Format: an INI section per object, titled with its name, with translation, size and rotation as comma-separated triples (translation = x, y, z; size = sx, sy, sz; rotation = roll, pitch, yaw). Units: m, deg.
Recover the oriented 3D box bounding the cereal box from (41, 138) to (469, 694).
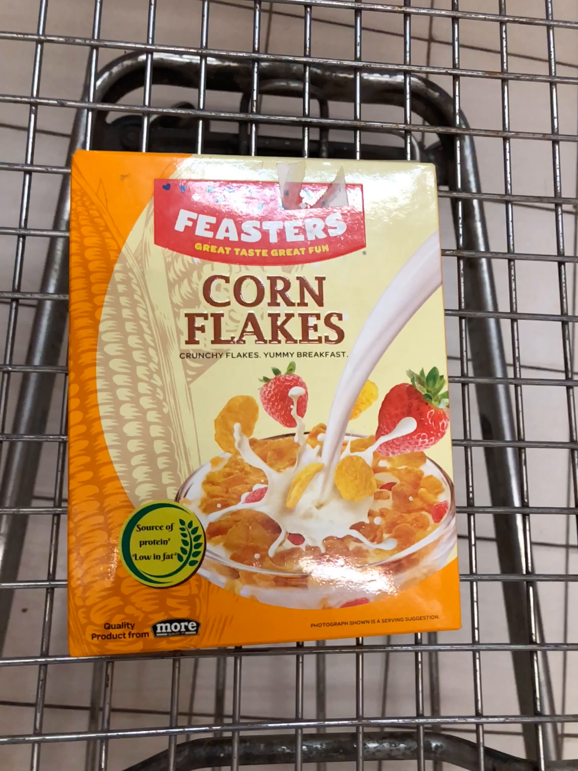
[cereal box]
translation = -0.013, 0.009, 0.248
size = 0.140, 0.060, 0.180
rotation = 0, 85, -8
